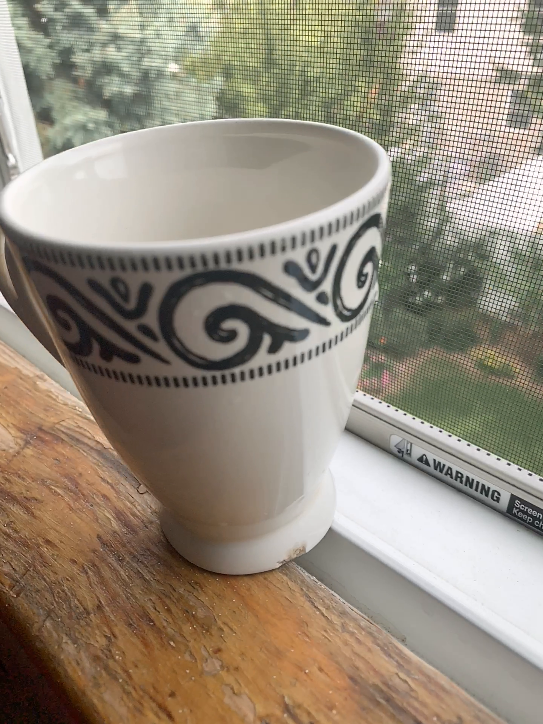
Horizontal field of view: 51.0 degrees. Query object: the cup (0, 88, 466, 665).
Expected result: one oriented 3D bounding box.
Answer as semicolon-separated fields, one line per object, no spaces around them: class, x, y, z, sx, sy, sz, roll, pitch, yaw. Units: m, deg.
cup;-0.032;-0.010;0.146;0.130;0.089;0.081;14;39;23
